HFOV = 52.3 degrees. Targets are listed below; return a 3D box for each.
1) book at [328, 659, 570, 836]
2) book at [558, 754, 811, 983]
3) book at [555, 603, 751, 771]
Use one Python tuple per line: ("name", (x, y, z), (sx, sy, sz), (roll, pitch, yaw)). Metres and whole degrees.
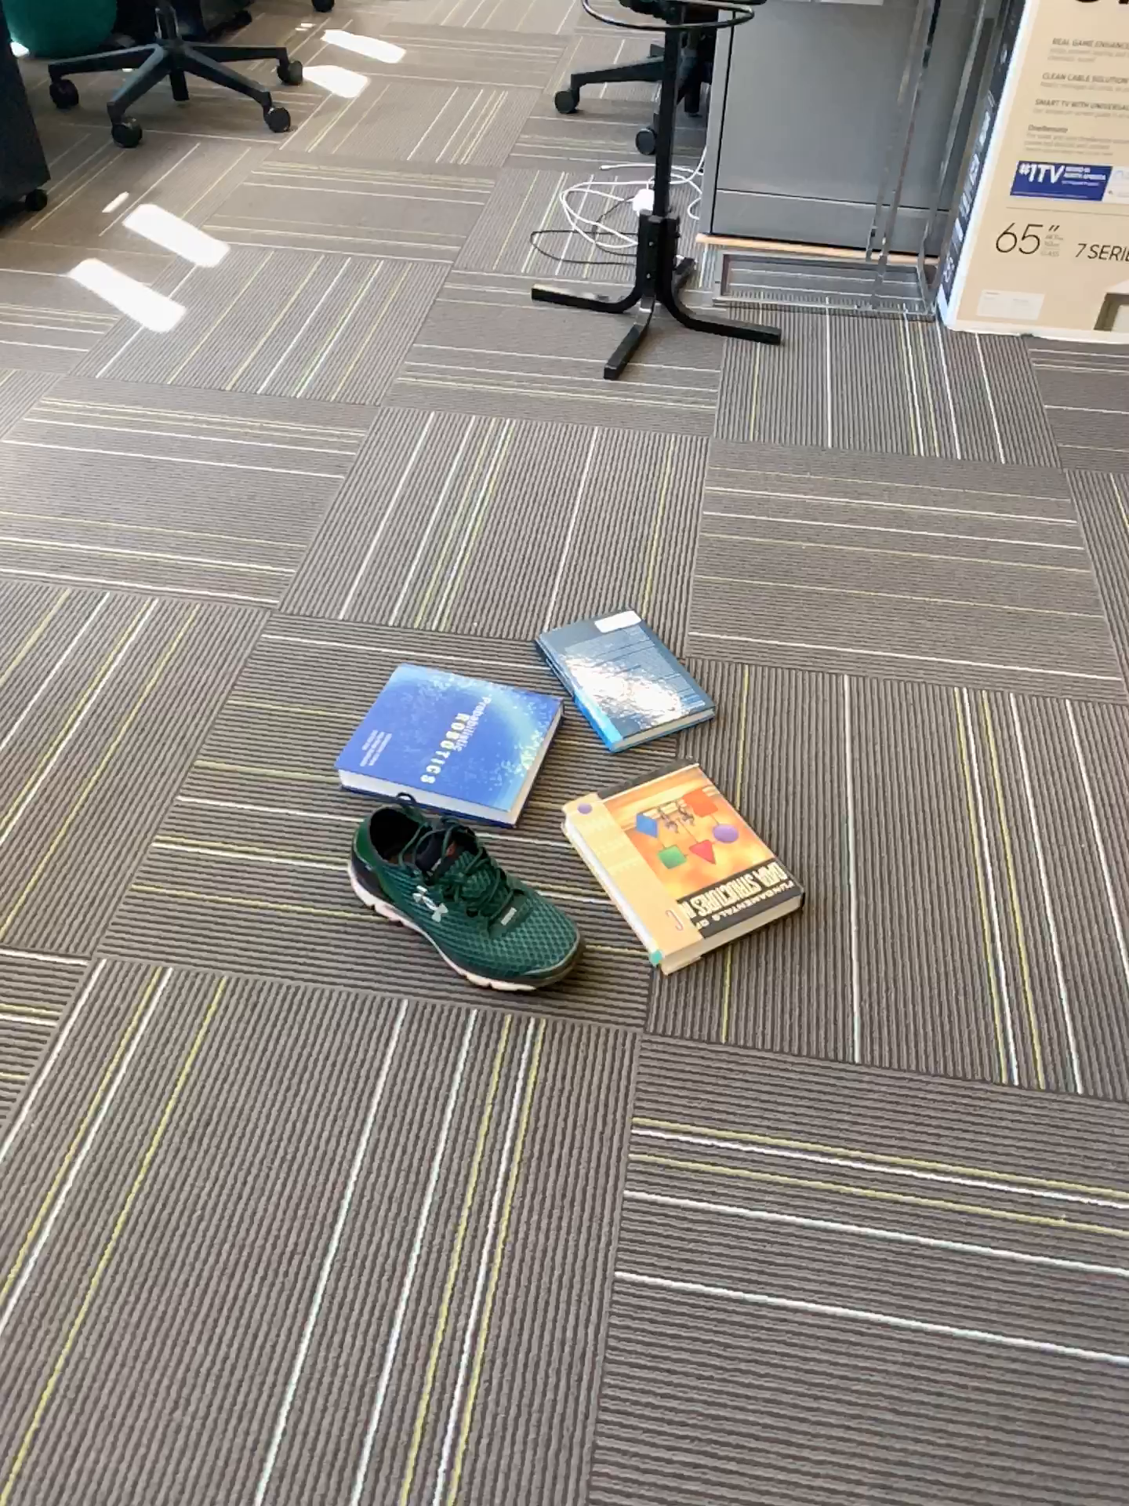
("book", (-0.139, -0.013, 1.436), (0.242, 0.040, 0.205), (13, 47, 11))
("book", (0.132, 0.124, 1.319), (0.184, 0.040, 0.243), (-21, 50, -20))
("book", (0.122, -0.101, 1.647), (0.177, 0.040, 0.248), (-20, 53, -20))
